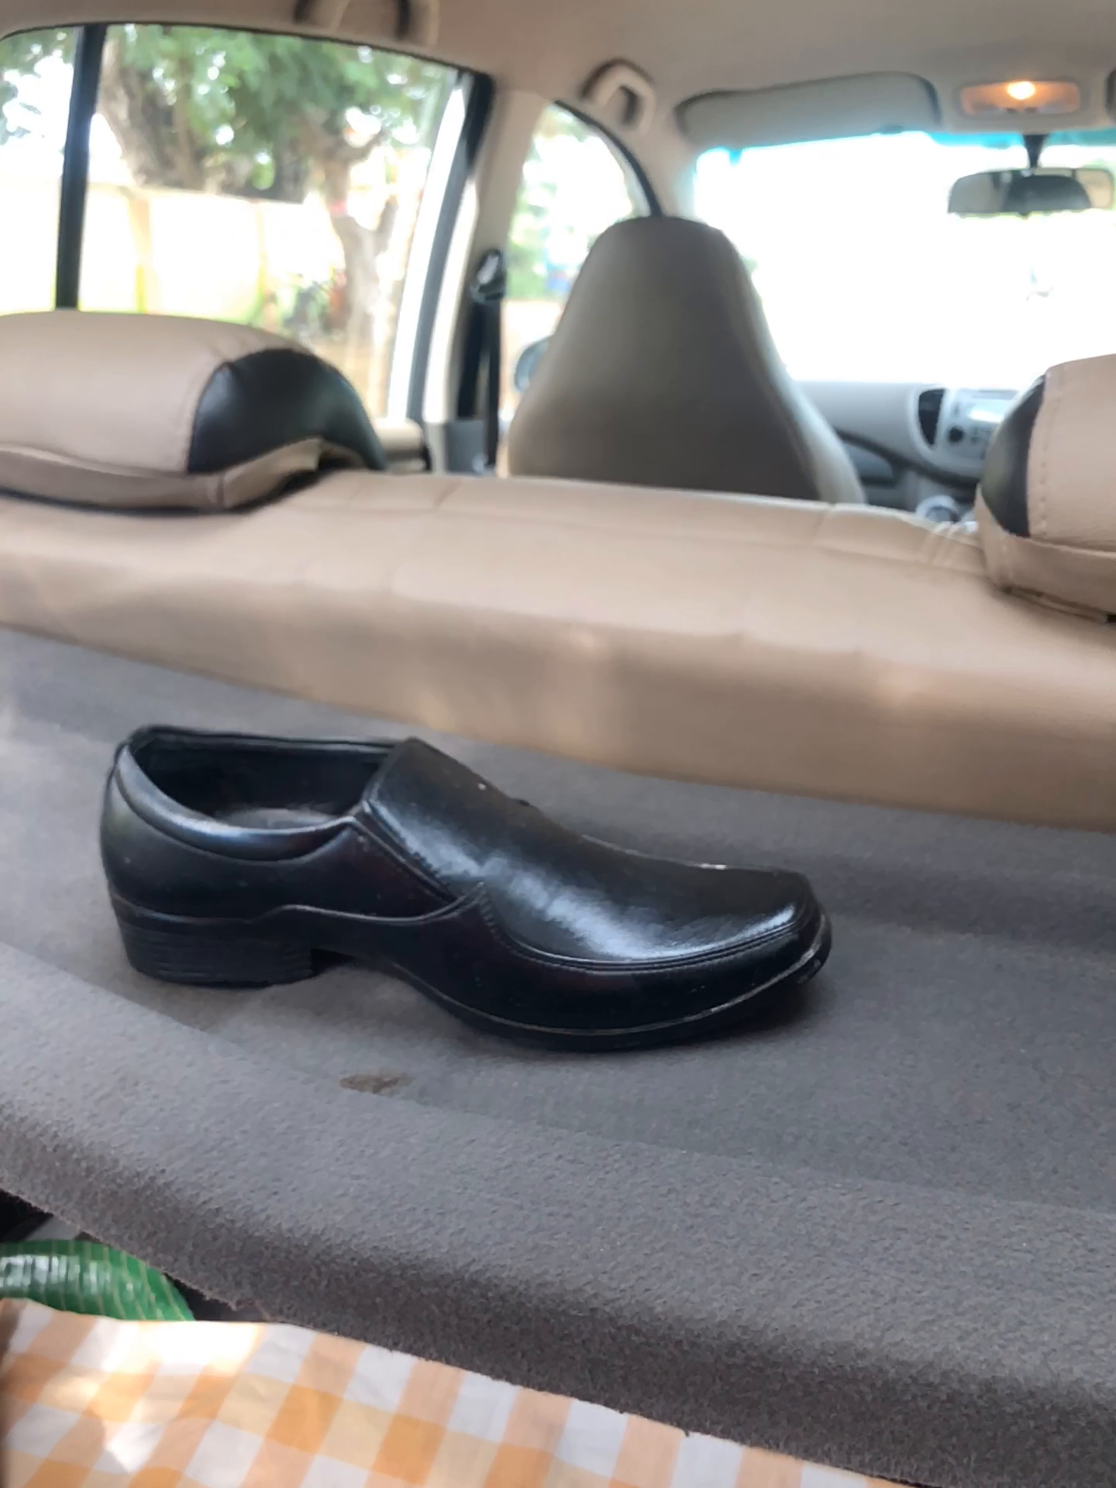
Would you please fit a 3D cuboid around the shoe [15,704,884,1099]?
[{"bbox_3d":[-0.036,0.050,0.474,0.300,0.080,0.101,5,21,11],"label":"shoe"}]
